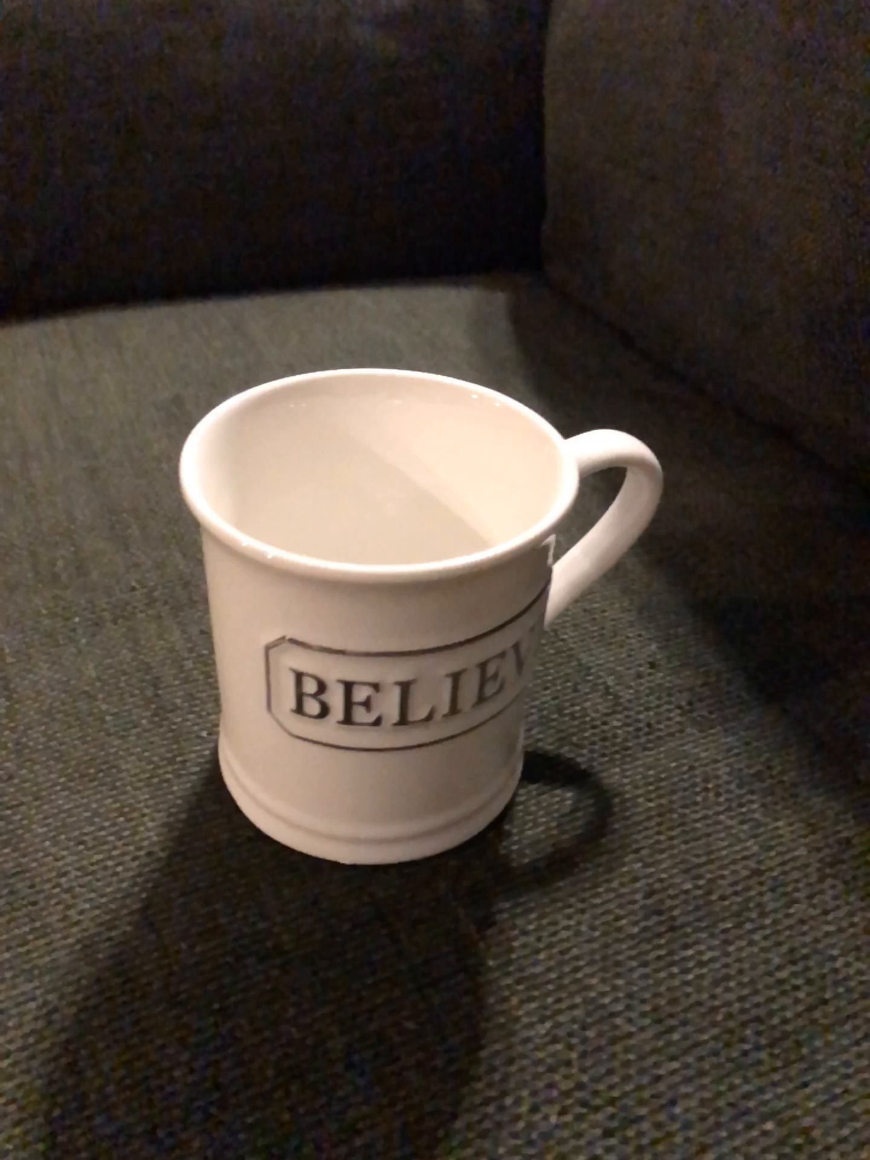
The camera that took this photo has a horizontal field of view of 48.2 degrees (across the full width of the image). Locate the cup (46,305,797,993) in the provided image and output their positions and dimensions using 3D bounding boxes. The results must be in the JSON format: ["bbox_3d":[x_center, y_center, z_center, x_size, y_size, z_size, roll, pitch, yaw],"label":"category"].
[{"bbox_3d":[-0.006,0.006,0.251,0.140,0.099,0.100,-19,42,-25],"label":"cup"}]
